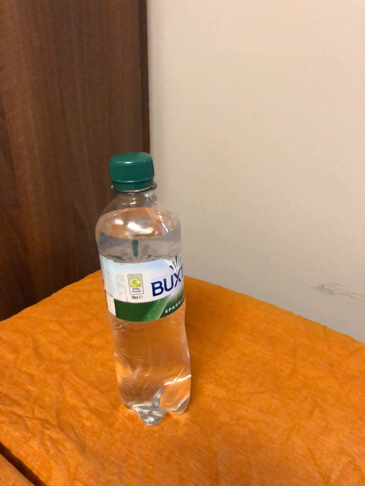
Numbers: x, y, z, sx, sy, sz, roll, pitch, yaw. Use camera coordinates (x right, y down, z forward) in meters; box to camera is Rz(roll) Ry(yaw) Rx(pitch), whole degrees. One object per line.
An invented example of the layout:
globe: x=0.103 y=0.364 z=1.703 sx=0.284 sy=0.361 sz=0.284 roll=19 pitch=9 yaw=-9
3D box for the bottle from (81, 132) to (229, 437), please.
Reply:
bottle: x=-0.018 y=0.034 z=0.317 sx=0.070 sy=0.218 sz=0.070 roll=1 pitch=26 yaw=0
